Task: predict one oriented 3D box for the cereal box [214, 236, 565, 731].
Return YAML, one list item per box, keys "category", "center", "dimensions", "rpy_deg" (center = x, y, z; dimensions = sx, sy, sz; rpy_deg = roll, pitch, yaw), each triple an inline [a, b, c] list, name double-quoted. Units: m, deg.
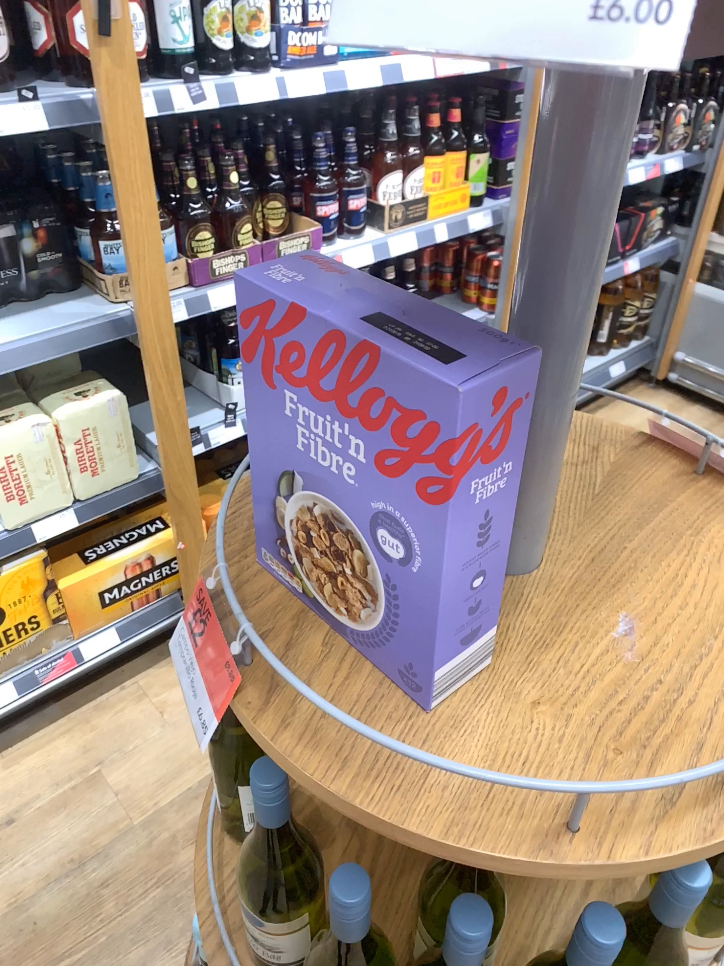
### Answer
- category: "cereal box"
  center: [0.002, -0.003, 0.467]
  dimensions: [0.070, 0.238, 0.201]
  rpy_deg: [-26, 45, -33]
